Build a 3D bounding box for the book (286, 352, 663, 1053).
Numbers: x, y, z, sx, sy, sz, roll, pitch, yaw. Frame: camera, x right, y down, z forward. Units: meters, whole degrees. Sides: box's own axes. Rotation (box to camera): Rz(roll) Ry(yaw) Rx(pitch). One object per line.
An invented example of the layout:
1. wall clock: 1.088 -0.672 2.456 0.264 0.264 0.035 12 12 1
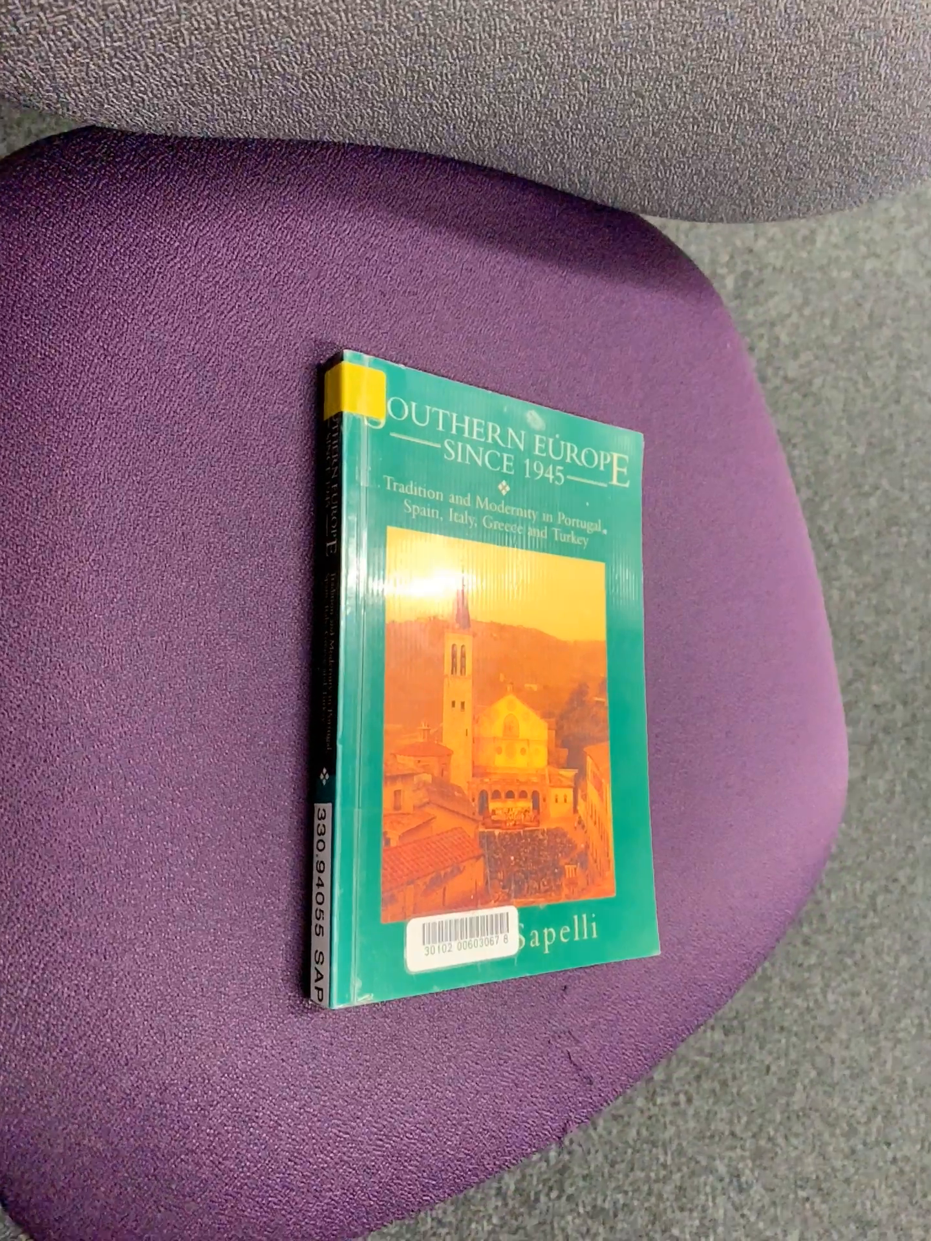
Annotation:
1. book: 0.010 0.027 0.356 0.154 0.020 0.221 5 80 -37
